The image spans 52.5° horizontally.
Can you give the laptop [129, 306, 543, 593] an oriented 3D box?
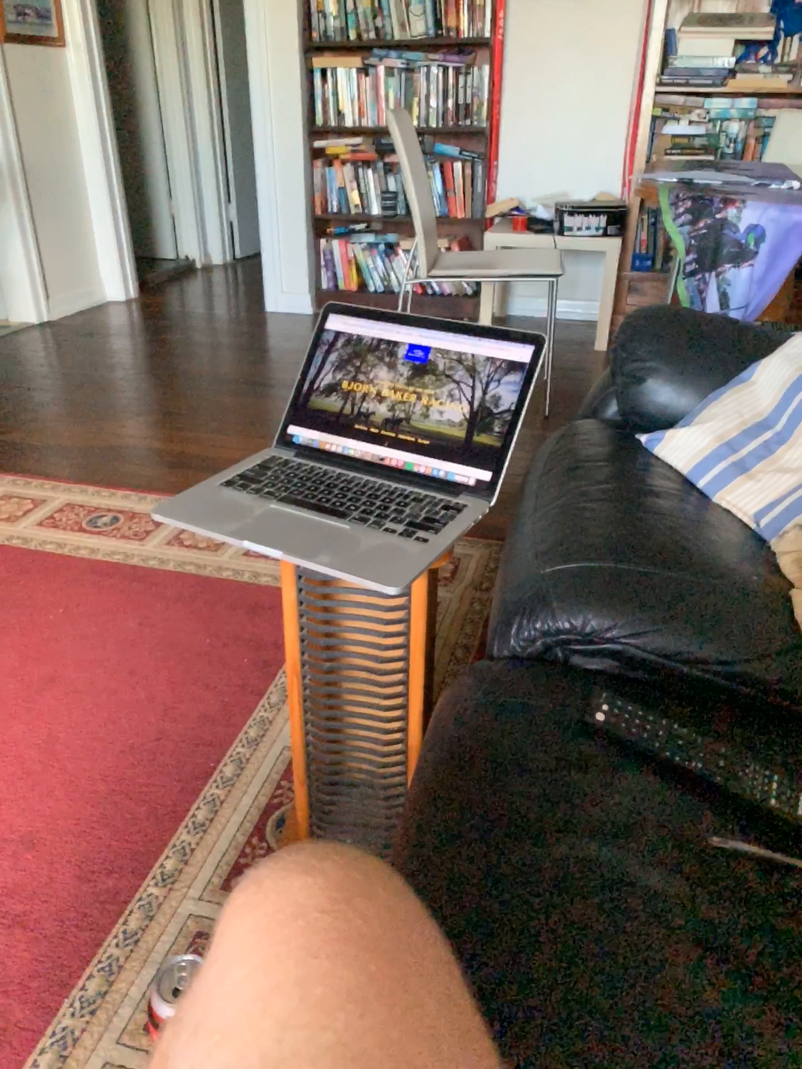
[{"bbox_3d":[-0.054,-0.124,0.909,0.313,0.160,0.341,16,31,26],"label":"laptop"}]
